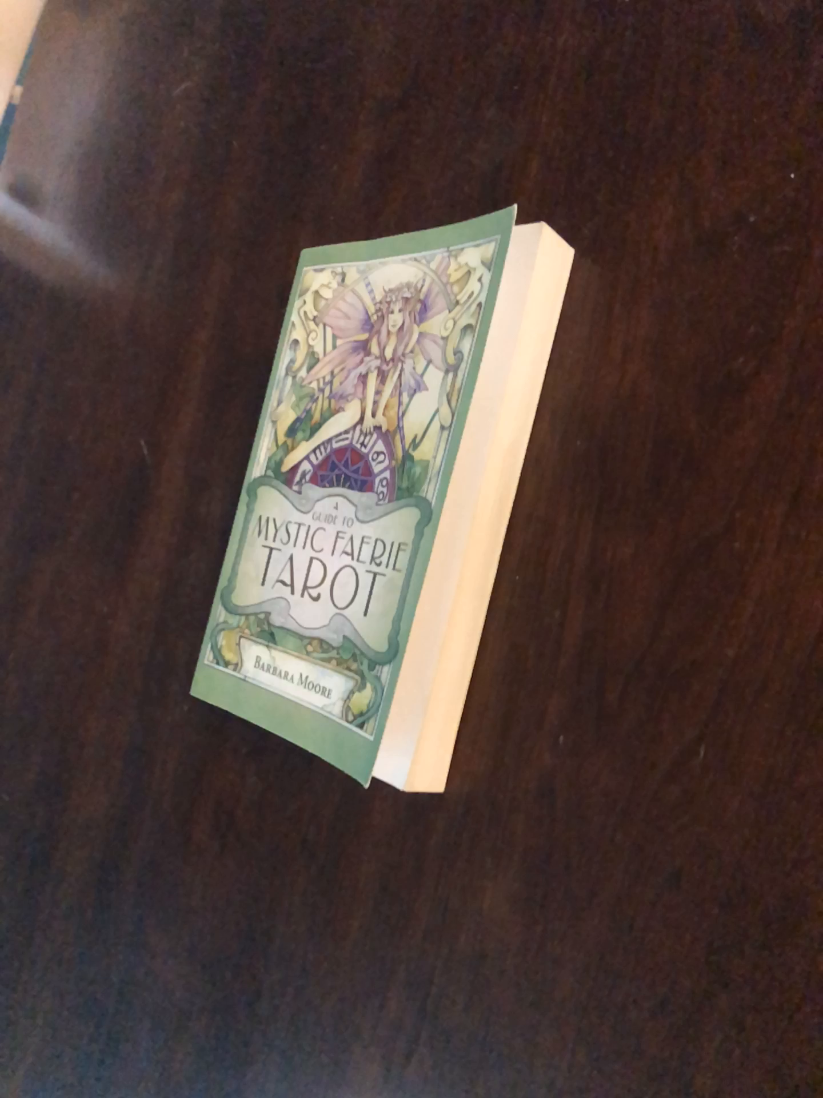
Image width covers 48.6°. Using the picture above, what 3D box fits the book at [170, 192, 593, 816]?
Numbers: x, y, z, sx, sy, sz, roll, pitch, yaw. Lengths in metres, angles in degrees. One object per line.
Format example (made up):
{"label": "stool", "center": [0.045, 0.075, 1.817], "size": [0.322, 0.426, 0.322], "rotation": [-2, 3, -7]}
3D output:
{"label": "book", "center": [-0.020, -0.023, 0.357], "size": [0.140, 0.032, 0.208], "rotation": [12, 88, 45]}
